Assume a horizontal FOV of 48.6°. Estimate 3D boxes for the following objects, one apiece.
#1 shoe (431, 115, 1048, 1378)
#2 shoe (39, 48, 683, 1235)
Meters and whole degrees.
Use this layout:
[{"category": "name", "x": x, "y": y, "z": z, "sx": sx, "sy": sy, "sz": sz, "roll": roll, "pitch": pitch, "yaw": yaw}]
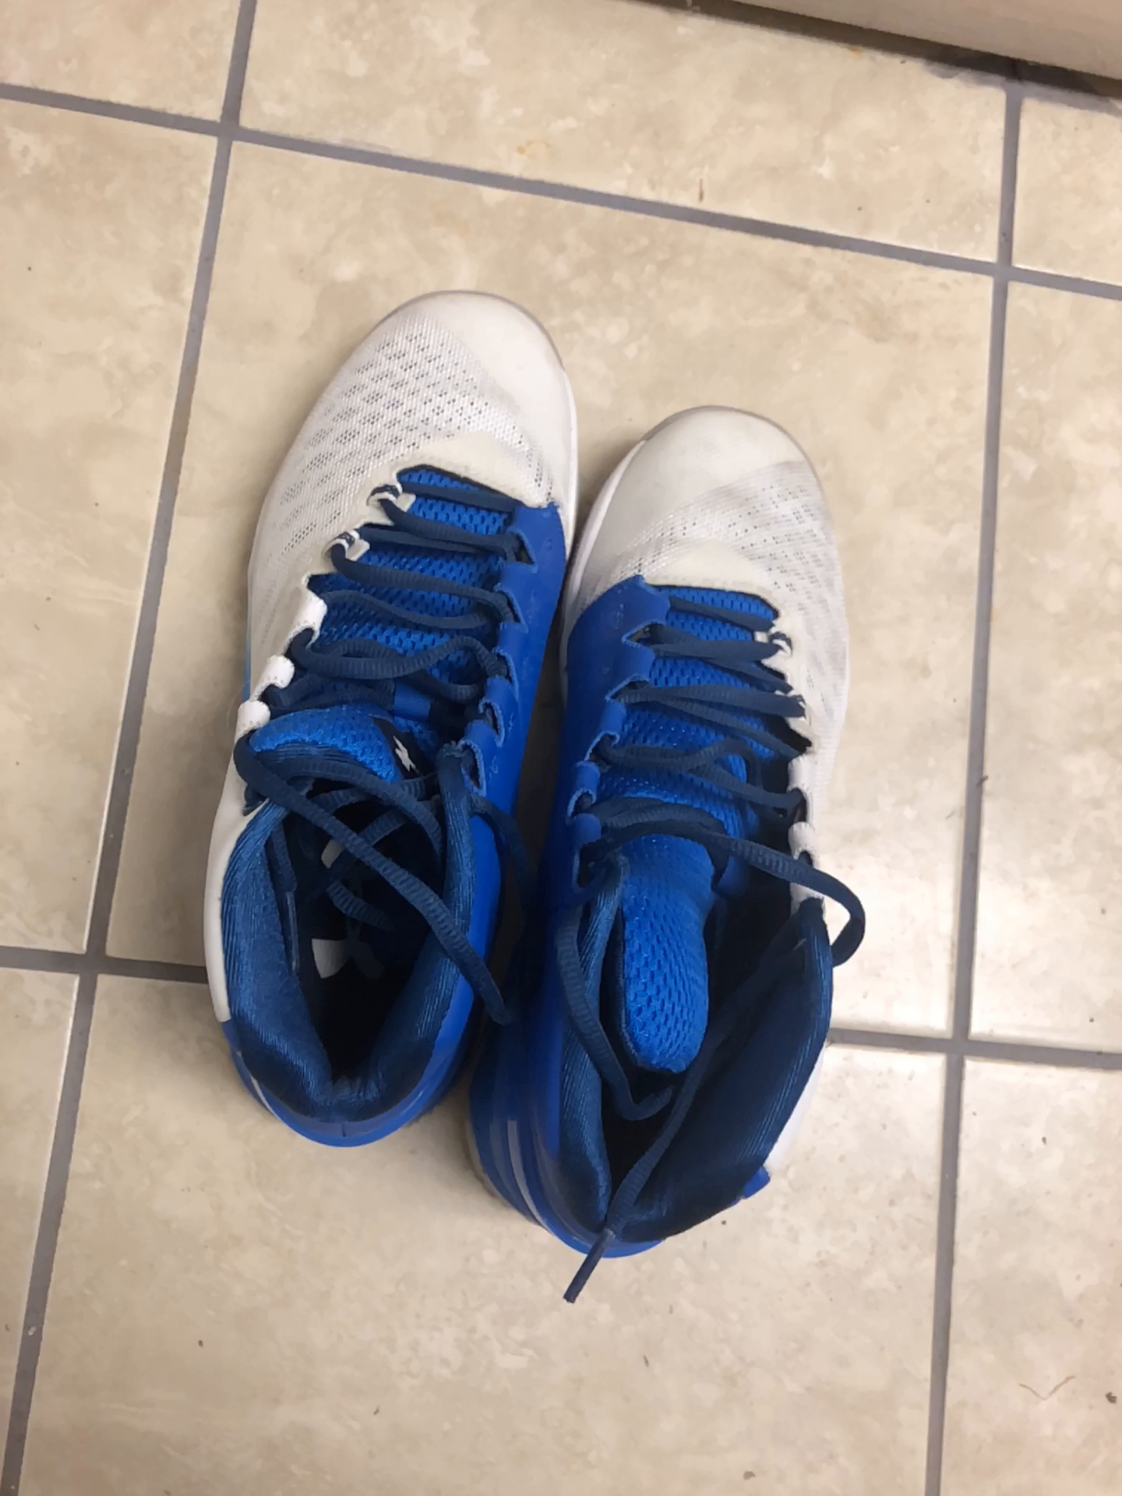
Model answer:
[{"category": "shoe", "x": 0.050, "y": -0.002, "z": 0.390, "sx": 0.120, "sy": 0.130, "sz": 0.322, "roll": 11, "pitch": 78, "yaw": -6}, {"category": "shoe", "x": -0.053, "y": -0.030, "z": 0.383, "sx": 0.120, "sy": 0.100, "sz": 0.310, "roll": 10, "pitch": 81, "yaw": -6}]
